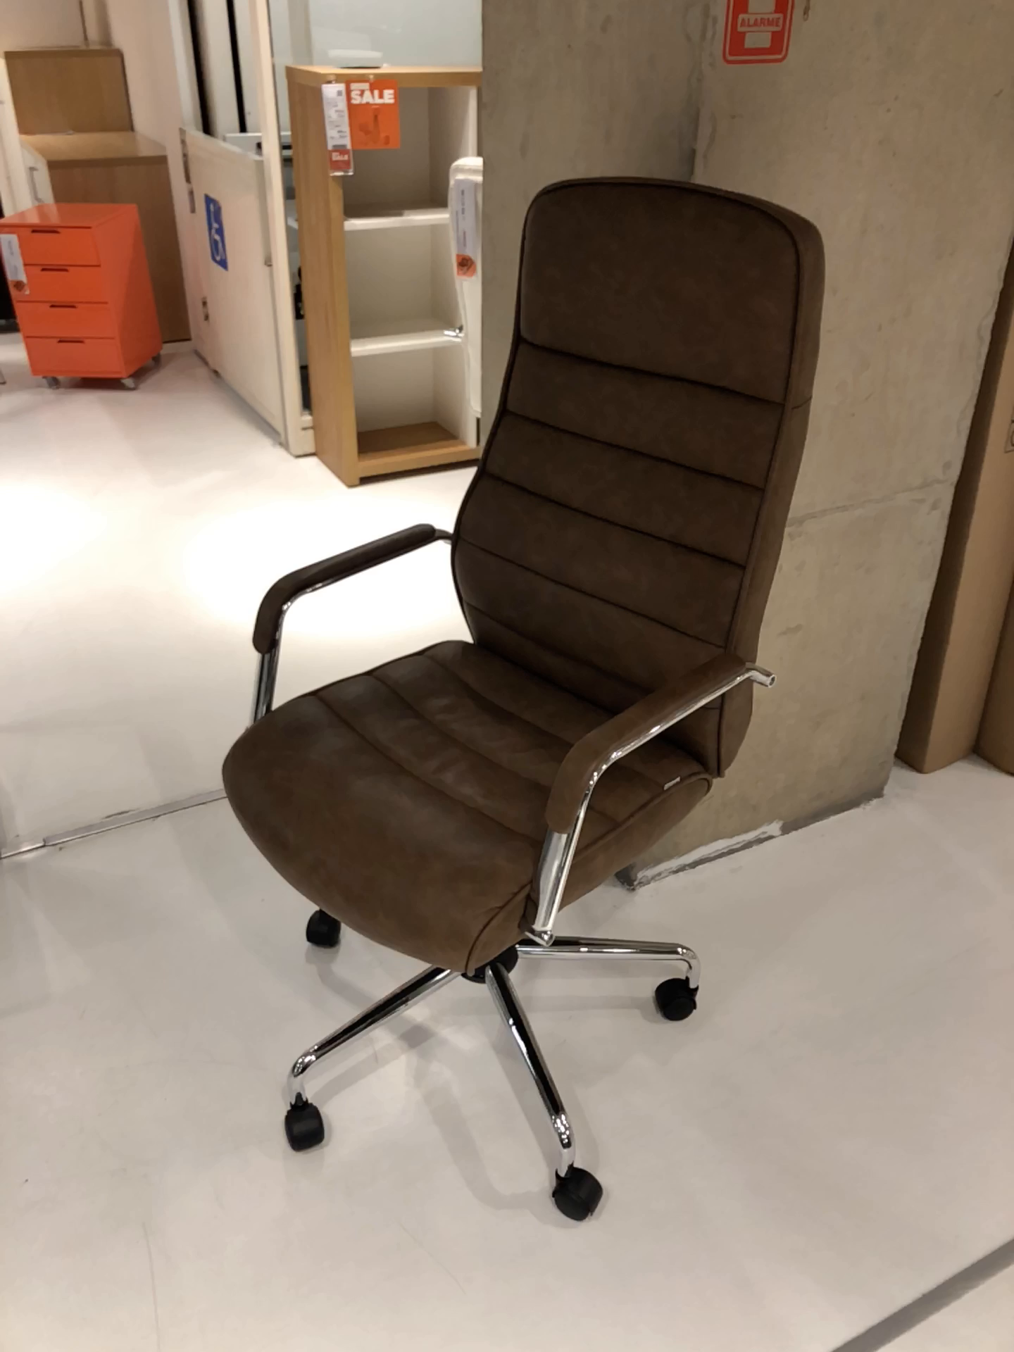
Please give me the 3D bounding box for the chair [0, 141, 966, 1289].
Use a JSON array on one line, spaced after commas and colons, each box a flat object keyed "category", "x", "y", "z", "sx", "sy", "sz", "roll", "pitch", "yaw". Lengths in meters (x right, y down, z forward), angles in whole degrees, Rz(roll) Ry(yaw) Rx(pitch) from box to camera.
[{"category": "chair", "x": -0.040, "y": -0.030, "z": 1.266, "sx": 0.632, "sy": 0.963, "sz": 0.643, "roll": -25, "pitch": 39, "yaw": -36}]
